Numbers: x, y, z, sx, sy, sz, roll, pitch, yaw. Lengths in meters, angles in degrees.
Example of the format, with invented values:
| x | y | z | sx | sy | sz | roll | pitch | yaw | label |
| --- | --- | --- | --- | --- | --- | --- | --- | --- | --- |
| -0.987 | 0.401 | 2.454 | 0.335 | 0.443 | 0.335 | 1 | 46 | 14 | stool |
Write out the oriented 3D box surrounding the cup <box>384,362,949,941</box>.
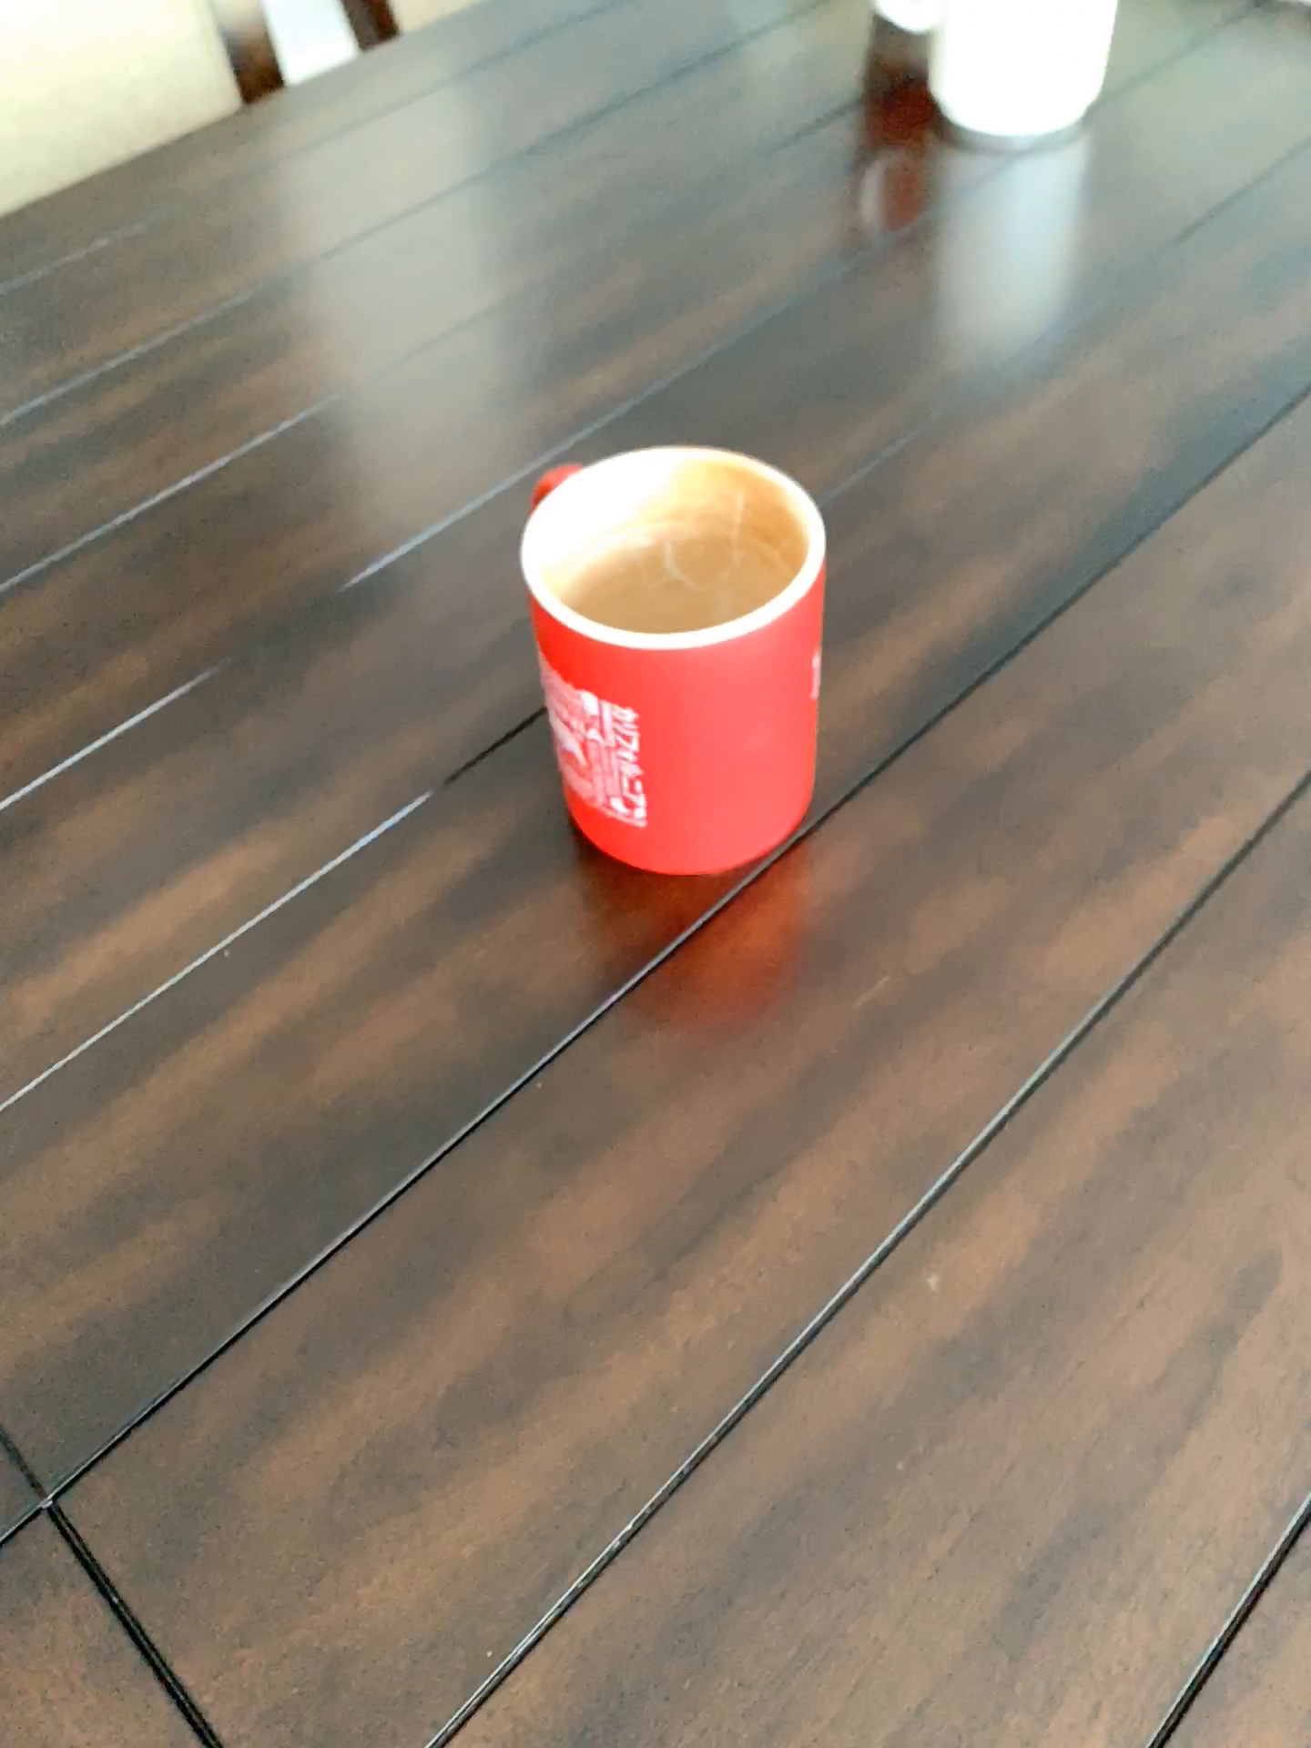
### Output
| x | y | z | sx | sy | sz | roll | pitch | yaw | label |
| --- | --- | --- | --- | --- | --- | --- | --- | --- | --- |
| 0.001 | -0.073 | 0.417 | 0.100 | 0.080 | 0.141 | -28 | 55 | -17 | cup |
